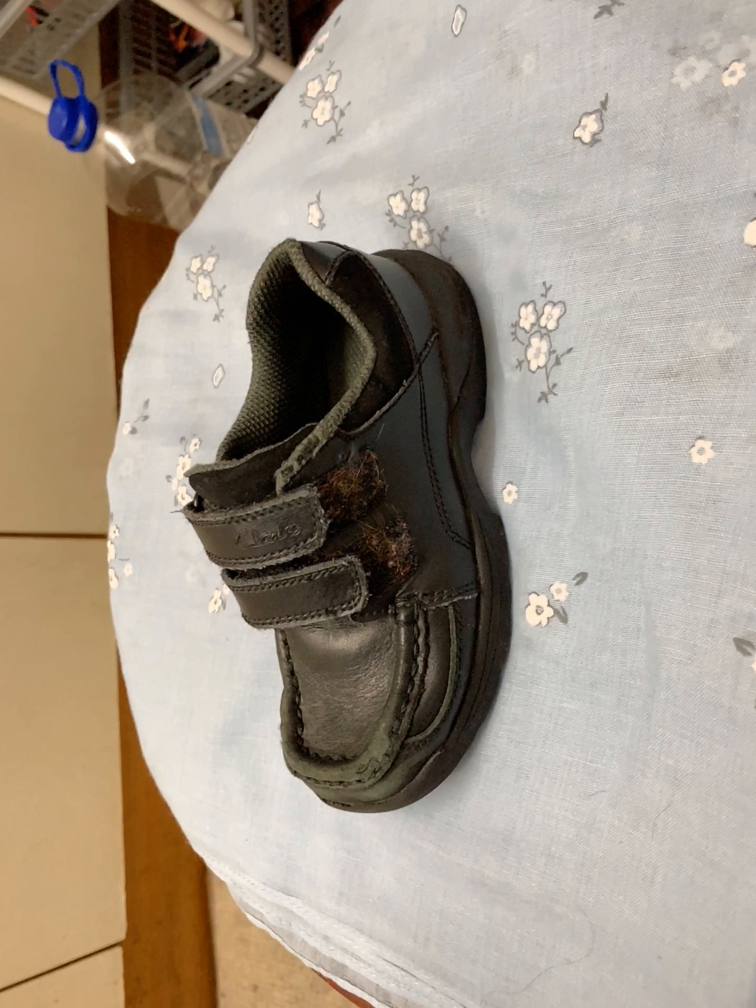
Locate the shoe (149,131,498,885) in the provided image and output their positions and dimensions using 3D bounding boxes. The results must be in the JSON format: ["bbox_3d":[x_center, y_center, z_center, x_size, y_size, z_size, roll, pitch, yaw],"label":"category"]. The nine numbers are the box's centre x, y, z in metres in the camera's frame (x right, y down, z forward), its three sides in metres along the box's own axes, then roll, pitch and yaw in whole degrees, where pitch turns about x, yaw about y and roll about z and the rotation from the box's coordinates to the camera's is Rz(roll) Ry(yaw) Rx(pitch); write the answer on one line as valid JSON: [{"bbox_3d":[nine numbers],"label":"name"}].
[{"bbox_3d":[-0.016,0.001,0.249,0.079,0.073,0.190,-3,85,41],"label":"shoe"}]
